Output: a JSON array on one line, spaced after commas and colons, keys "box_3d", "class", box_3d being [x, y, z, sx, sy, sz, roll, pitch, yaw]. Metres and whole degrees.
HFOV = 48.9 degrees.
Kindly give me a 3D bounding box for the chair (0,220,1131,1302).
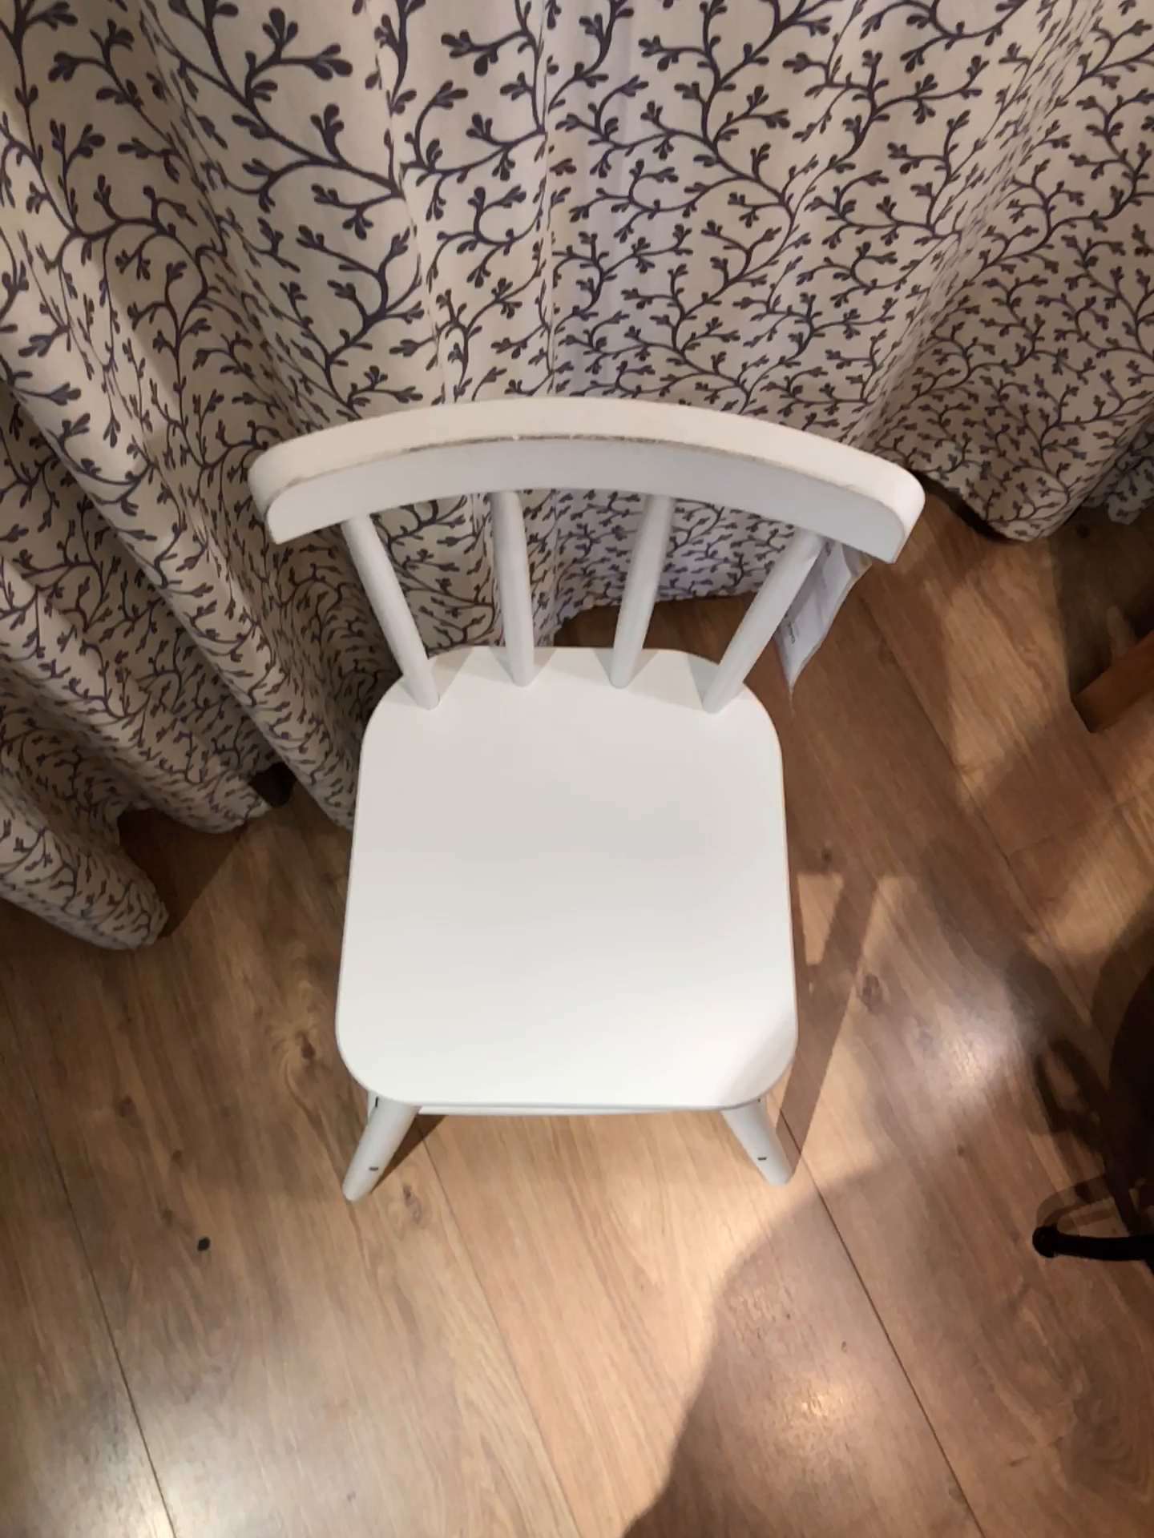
[{"box_3d": [-0.021, 0.067, 0.865, 0.420, 0.709, 0.451, -2, 74, -1], "class": "chair"}]
